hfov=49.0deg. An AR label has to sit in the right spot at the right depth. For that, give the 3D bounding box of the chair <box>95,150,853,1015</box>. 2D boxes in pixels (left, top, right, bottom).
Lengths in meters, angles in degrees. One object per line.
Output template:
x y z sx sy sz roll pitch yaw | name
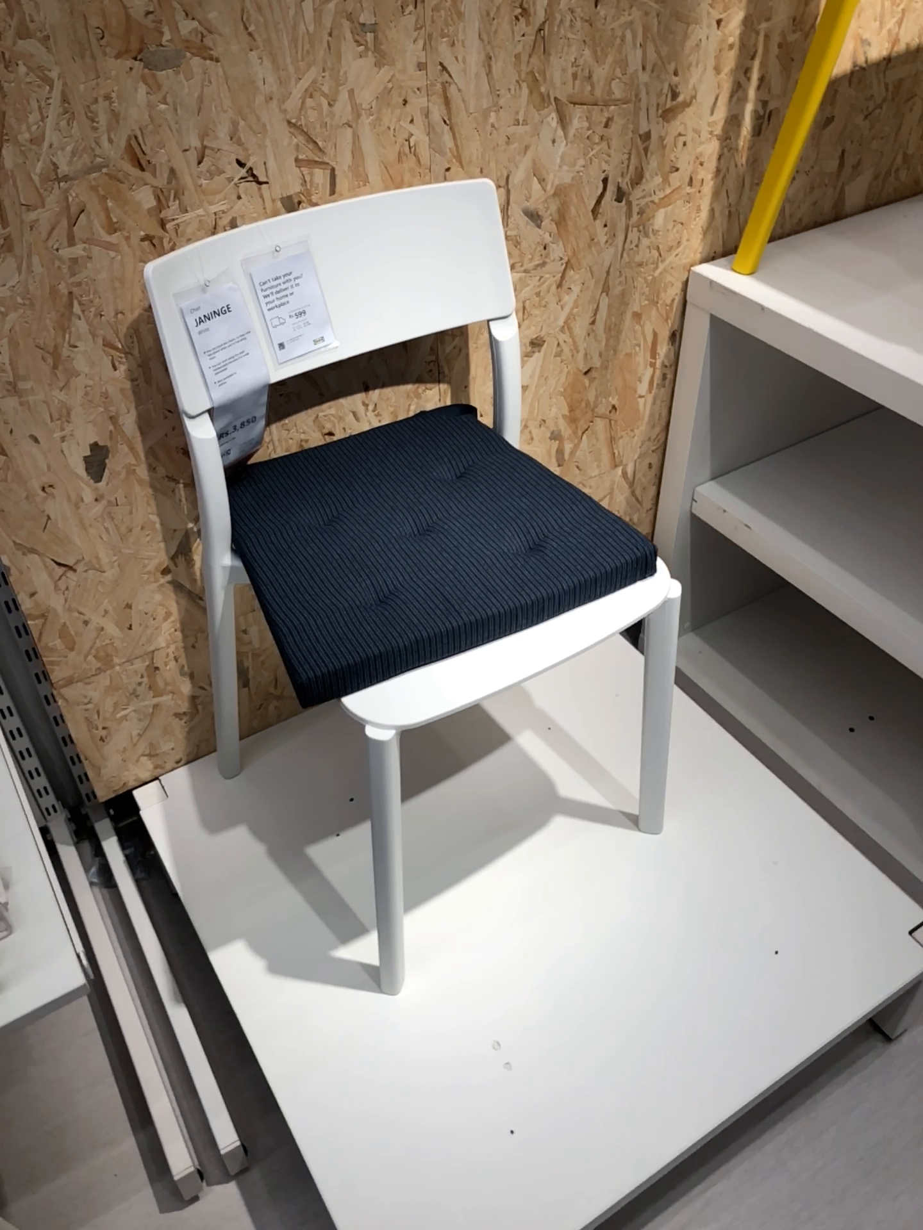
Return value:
-0.002 -0.043 1.114 0.491 0.685 0.462 -24 46 -24 | chair
